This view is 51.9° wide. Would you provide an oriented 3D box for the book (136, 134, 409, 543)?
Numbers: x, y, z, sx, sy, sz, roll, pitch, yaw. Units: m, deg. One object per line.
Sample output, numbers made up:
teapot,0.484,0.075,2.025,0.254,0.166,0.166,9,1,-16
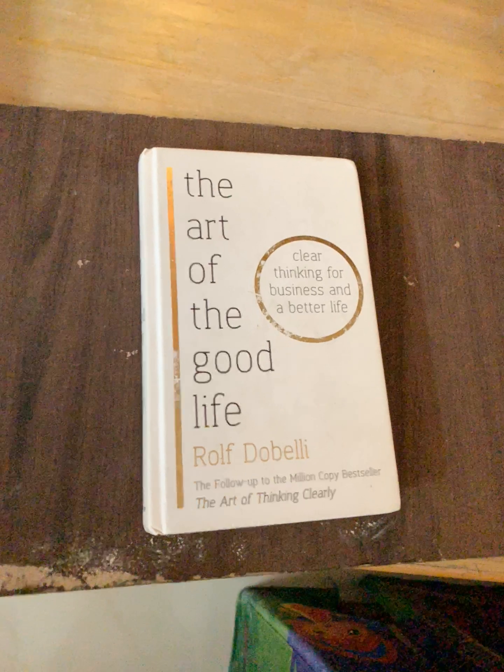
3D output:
book,0.004,-0.003,0.253,0.117,0.037,0.180,0,78,-11
